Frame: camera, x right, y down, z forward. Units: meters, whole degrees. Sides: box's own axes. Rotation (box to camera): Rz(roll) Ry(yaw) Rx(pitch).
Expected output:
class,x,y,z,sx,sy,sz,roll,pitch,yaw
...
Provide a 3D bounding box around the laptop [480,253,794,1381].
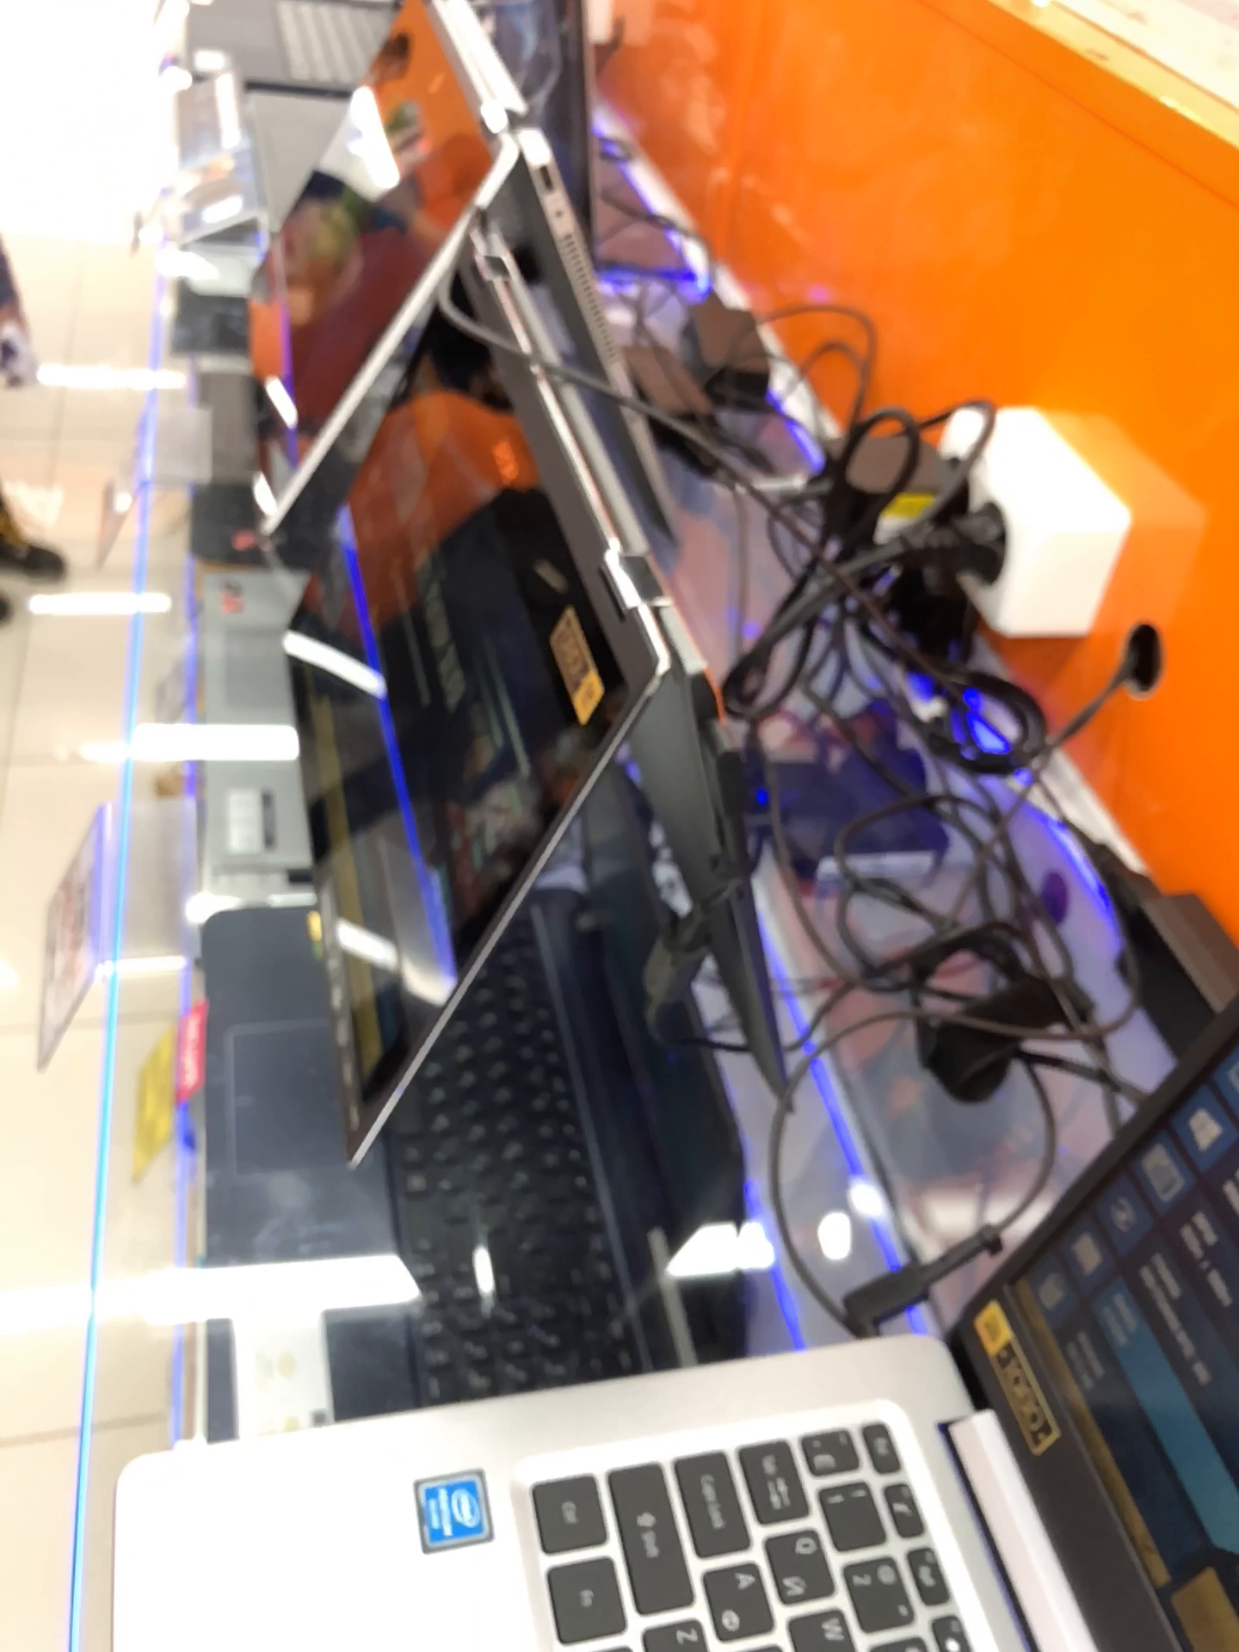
class,x,y,z,sx,sy,sz,roll,pitch,yaw
laptop,-0.004,0.006,0.561,0.182,0.142,0.278,35,25,-34

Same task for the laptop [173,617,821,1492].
class,x,y,z,sx,sy,sz,roll,pitch,yaw
laptop,-0.093,0.092,0.708,0.239,0.222,0.362,-2,42,-15

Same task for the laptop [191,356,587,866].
class,x,y,z,sx,sy,sz,roll,pitch,yaw
laptop,-0.186,-0.170,1.006,0.222,0.202,0.364,-4,41,-12

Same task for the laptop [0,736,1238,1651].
class,x,y,z,sx,sy,sz,roll,pitch,yaw
laptop,0.074,0.190,0.185,0.272,0.209,0.351,-5,43,-16

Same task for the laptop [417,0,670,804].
class,x,y,z,sx,sy,sz,roll,pitch,yaw
laptop,-0.054,-0.255,0.835,0.182,0.148,0.300,30,28,-37
